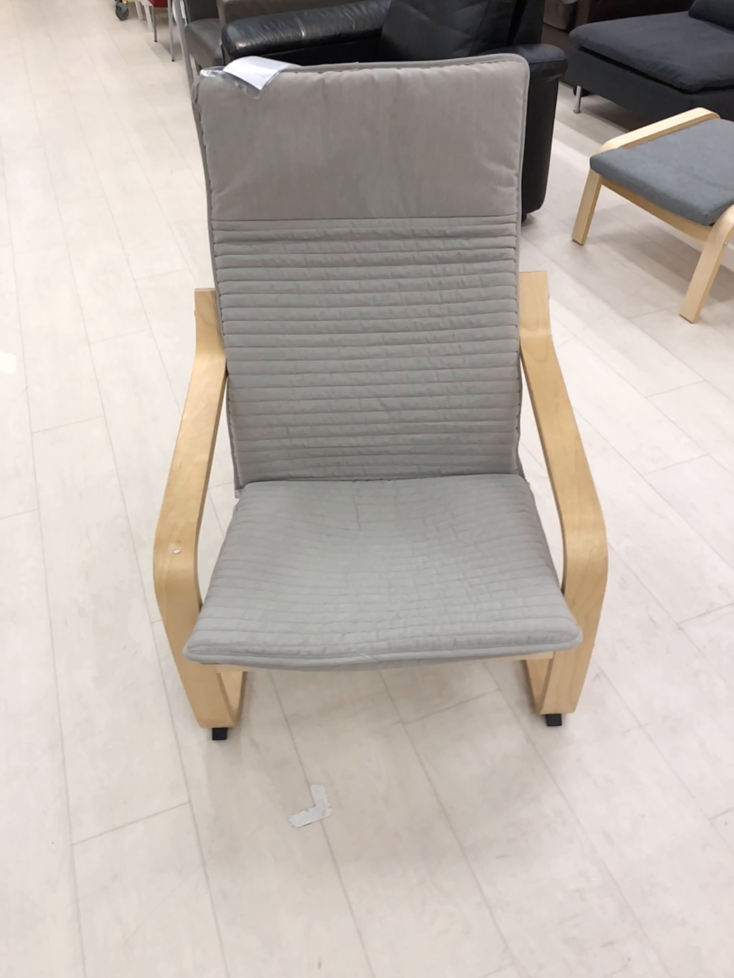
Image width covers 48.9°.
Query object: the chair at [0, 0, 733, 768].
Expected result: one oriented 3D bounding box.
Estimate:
[{"bbox_3d":[0.027,-0.141,1.284,0.730,0.996,0.703,-1,41,2],"label":"chair"}]
